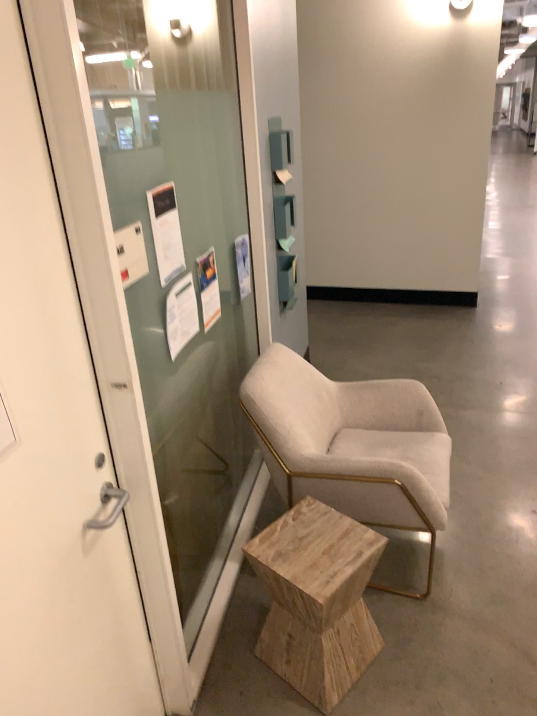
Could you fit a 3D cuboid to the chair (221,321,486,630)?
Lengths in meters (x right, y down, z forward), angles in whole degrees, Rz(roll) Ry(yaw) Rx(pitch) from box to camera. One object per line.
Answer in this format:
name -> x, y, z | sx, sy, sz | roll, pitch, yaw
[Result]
chair -> 0.377, 0.426, 2.335 | 0.871, 0.925, 0.783 | 2, 24, 14
